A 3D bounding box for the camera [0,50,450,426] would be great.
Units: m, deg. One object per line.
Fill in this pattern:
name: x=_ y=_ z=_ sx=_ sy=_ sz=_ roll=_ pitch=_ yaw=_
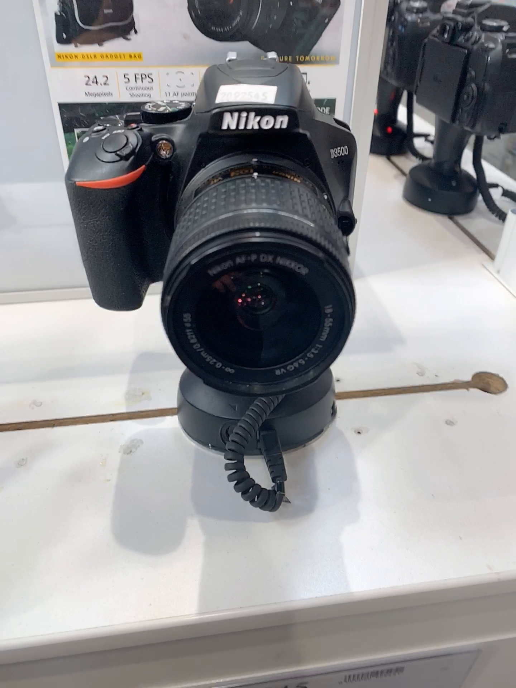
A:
camera: x=-0.014 y=-0.050 z=0.210 sx=0.116 sy=0.099 sz=0.121 roll=-3 pitch=36 yaw=-4
